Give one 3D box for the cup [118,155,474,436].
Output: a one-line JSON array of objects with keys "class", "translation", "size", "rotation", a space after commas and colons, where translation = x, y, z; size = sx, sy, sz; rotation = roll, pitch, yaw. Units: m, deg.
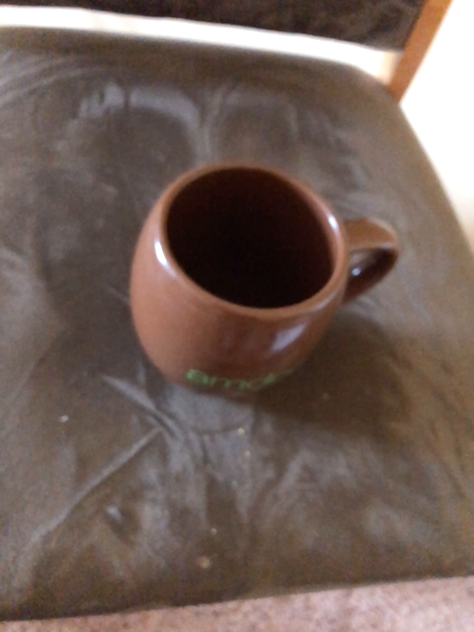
[{"class": "cup", "translation": [0.022, -0.008, 0.274], "size": [0.140, 0.100, 0.090], "rotation": [-4, 62, -21]}]
